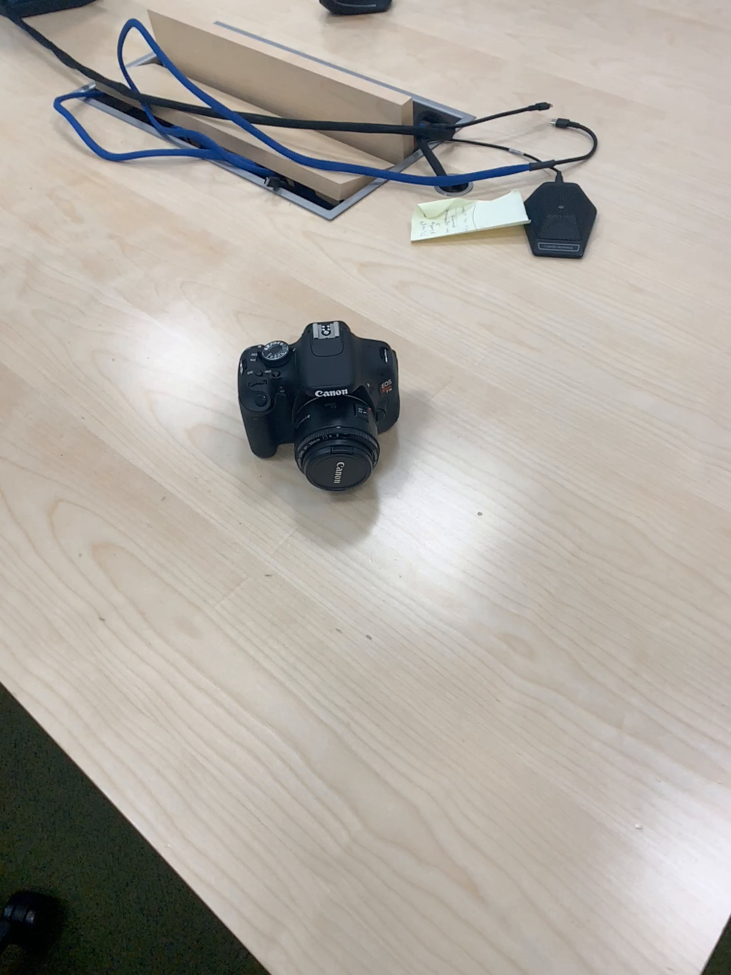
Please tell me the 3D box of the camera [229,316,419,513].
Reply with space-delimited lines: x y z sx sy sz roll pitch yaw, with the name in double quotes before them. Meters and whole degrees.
"camera" -0.036 -0.062 0.620 0.140 0.080 0.132 -6 52 -2
